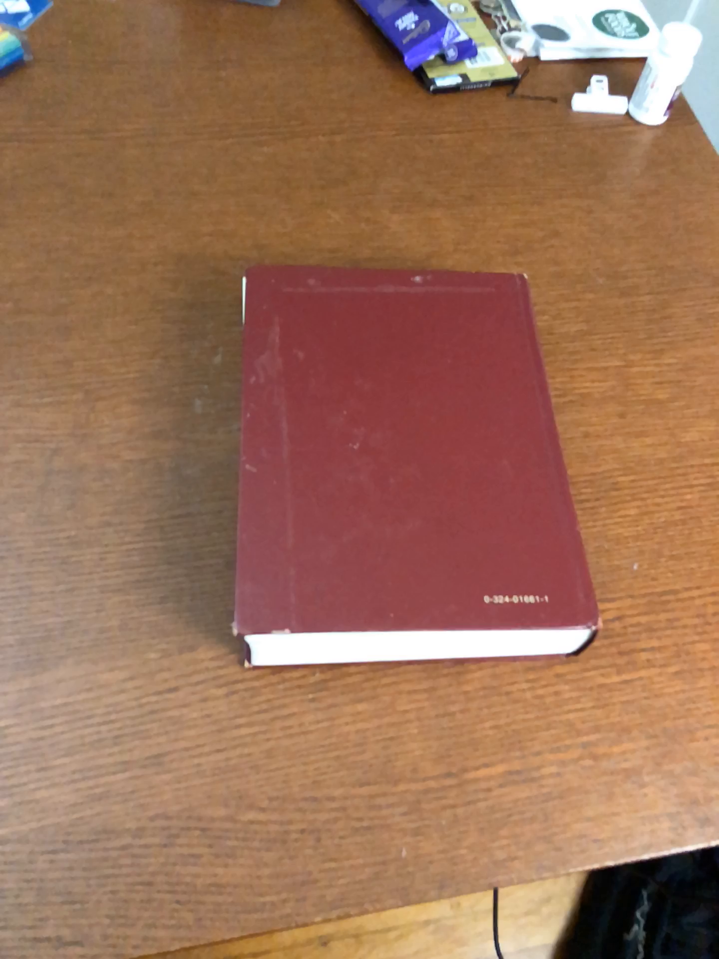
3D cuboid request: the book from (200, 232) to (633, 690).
[{"bbox_3d":[0.021,-0.024,0.499,0.220,0.070,0.291,0,59,-6],"label":"book"}]
